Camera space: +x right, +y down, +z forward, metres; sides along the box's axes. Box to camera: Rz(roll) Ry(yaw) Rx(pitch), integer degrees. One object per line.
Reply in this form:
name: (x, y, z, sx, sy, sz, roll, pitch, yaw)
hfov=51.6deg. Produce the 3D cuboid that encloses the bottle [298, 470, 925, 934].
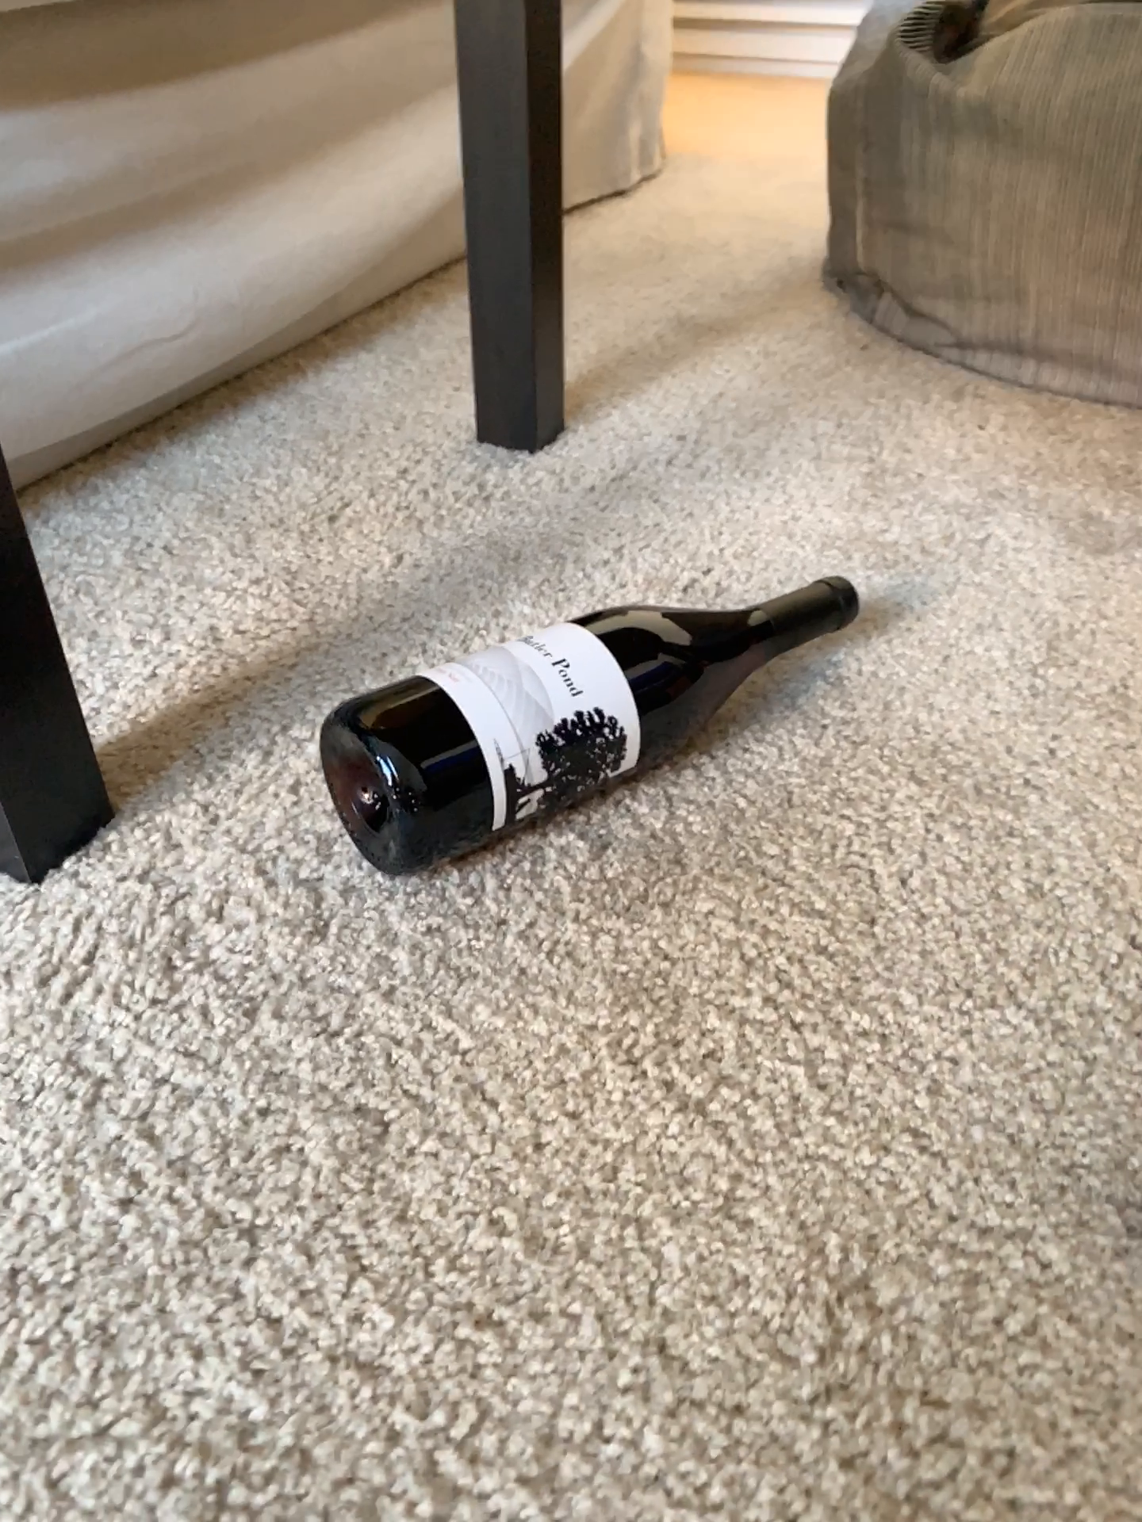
bottle: (0.023, -0.036, 0.536, 0.280, 0.080, 0.080, -26, 63, -26)
